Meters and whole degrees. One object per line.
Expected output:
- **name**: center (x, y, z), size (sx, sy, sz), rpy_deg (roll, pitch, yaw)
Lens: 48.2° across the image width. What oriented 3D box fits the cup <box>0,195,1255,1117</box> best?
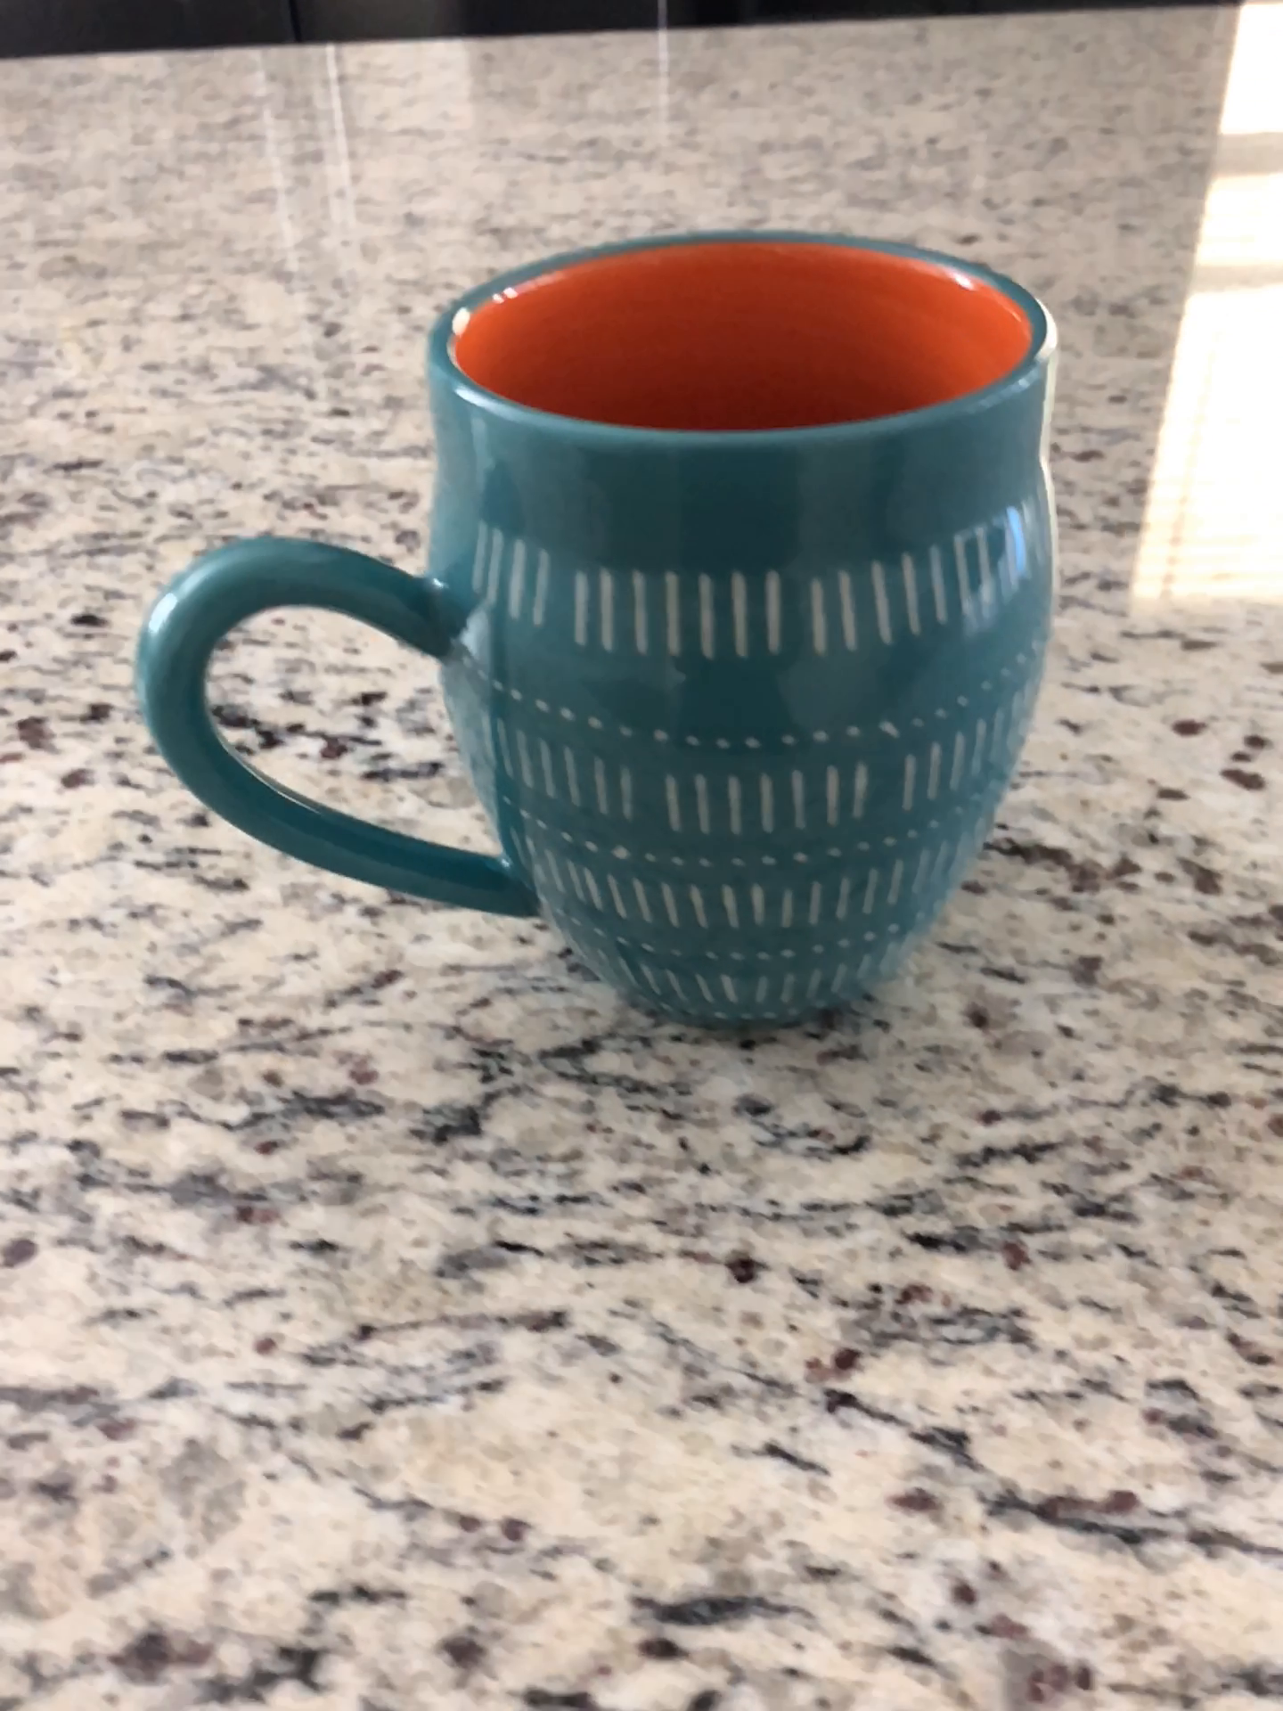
- **cup**: center (-0.004, -0.041, 0.244), size (0.150, 0.099, 0.111), rpy_deg (-6, 37, -5)
